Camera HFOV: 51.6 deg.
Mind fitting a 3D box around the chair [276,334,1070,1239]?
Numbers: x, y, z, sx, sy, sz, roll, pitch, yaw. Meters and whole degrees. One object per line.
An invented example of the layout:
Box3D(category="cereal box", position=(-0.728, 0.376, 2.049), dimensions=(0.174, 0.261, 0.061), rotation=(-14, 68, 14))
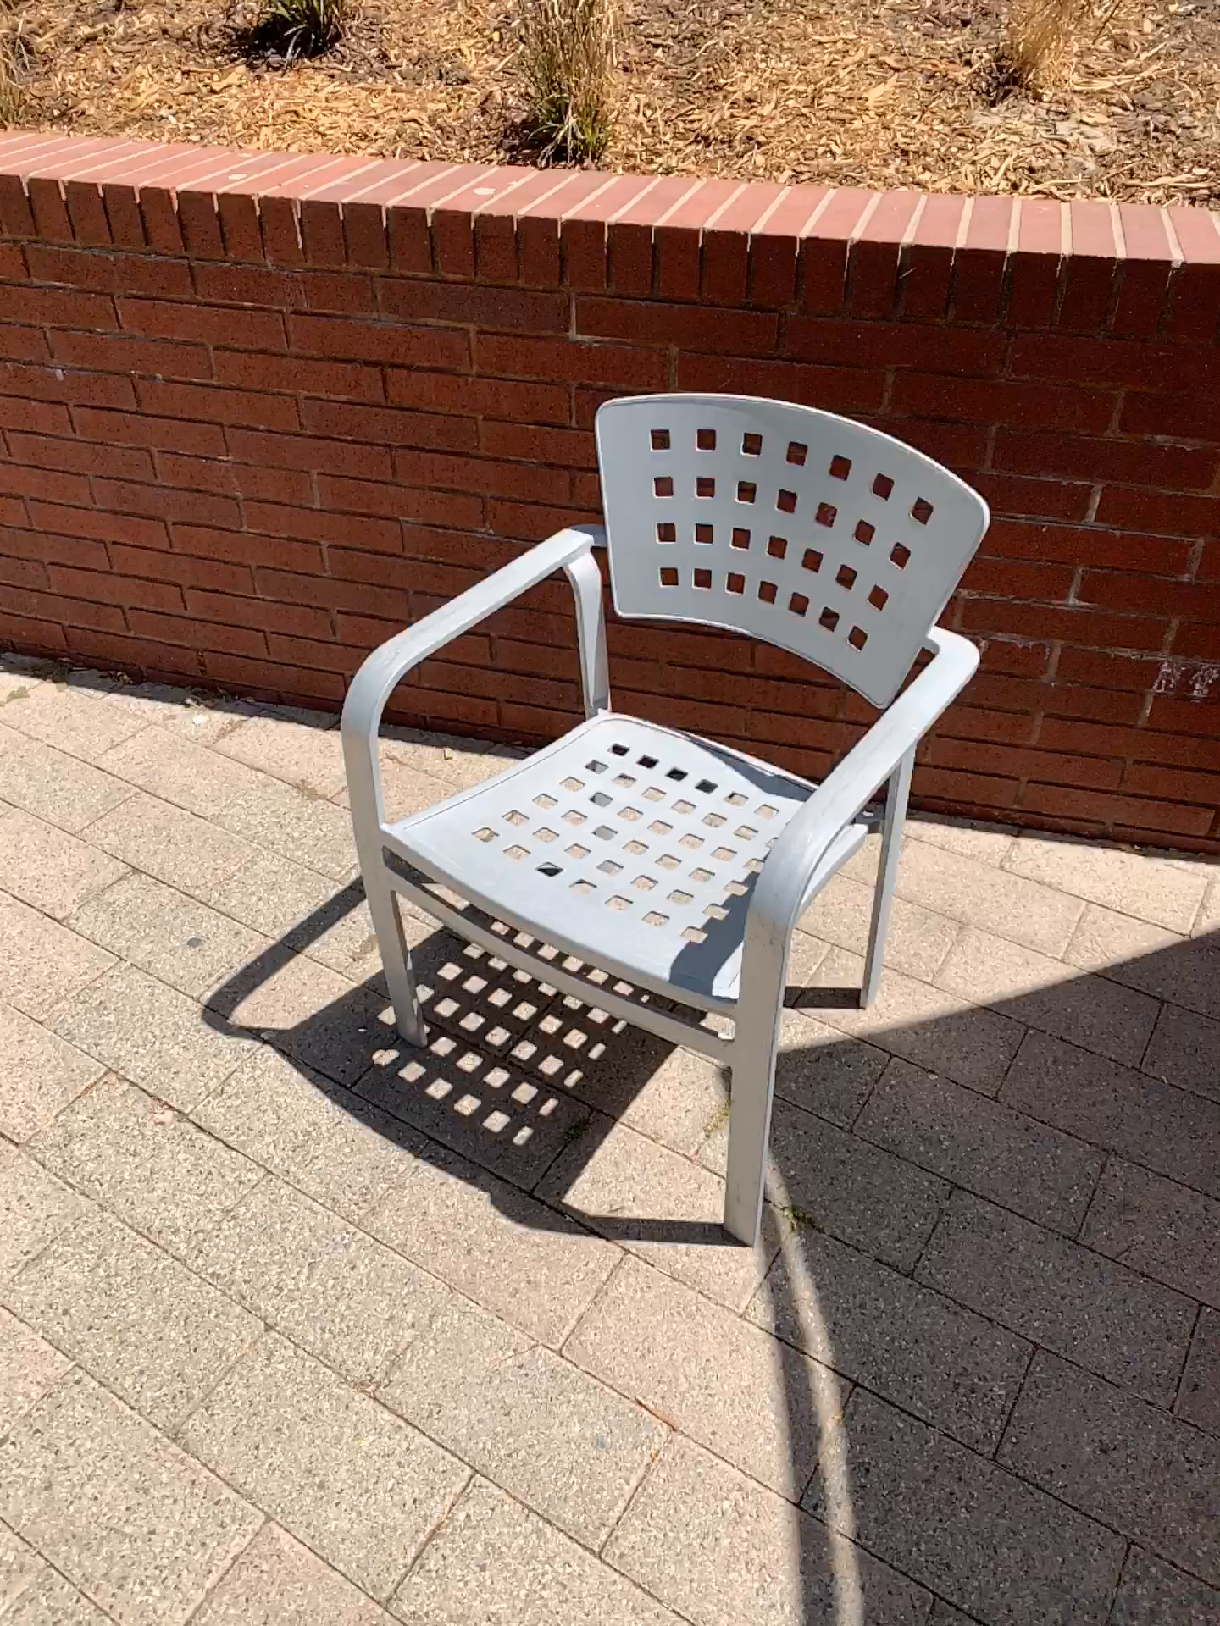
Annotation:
Box3D(category="chair", position=(0.070, -0.054, 1.390), dimensions=(0.563, 0.699, 0.498), rotation=(22, 43, 25))
